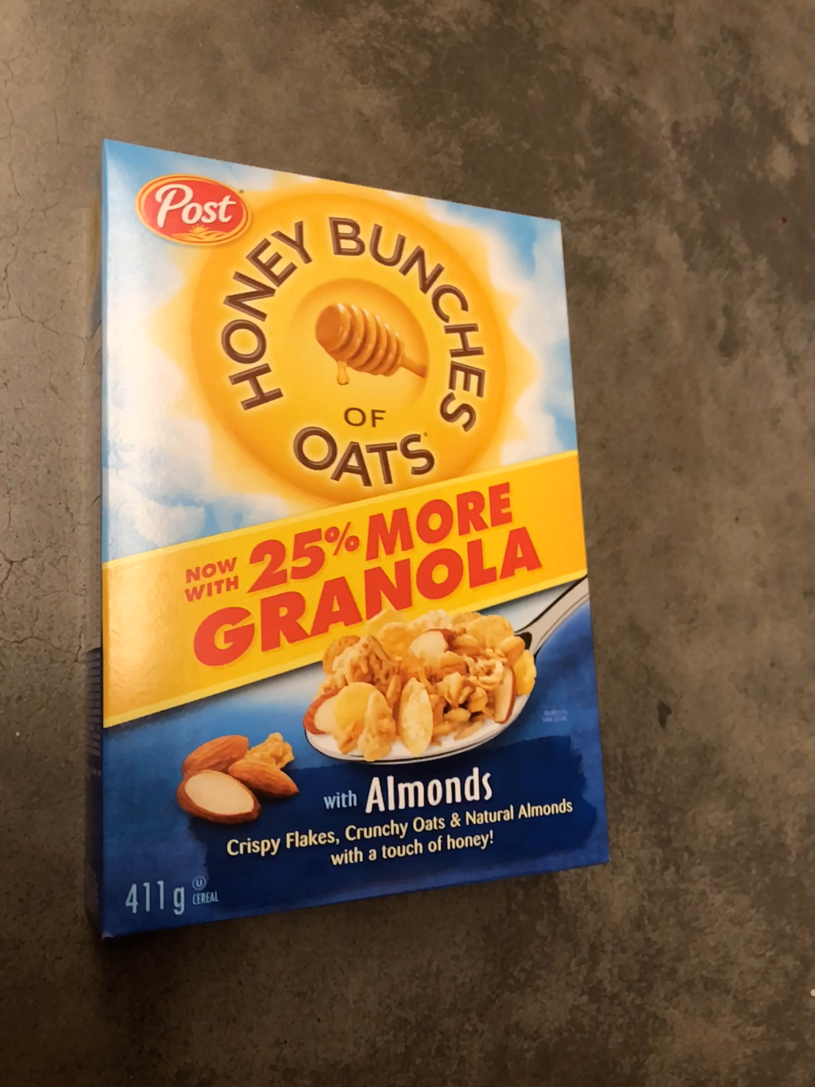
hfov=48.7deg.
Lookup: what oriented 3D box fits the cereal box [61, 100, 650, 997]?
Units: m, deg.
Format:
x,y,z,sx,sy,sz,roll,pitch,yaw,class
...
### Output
x,y,z,sx,sy,sz,roll,pitch,yaw,class
-0.021,-0.003,0.337,0.201,0.060,0.270,0,82,-24,cereal box
